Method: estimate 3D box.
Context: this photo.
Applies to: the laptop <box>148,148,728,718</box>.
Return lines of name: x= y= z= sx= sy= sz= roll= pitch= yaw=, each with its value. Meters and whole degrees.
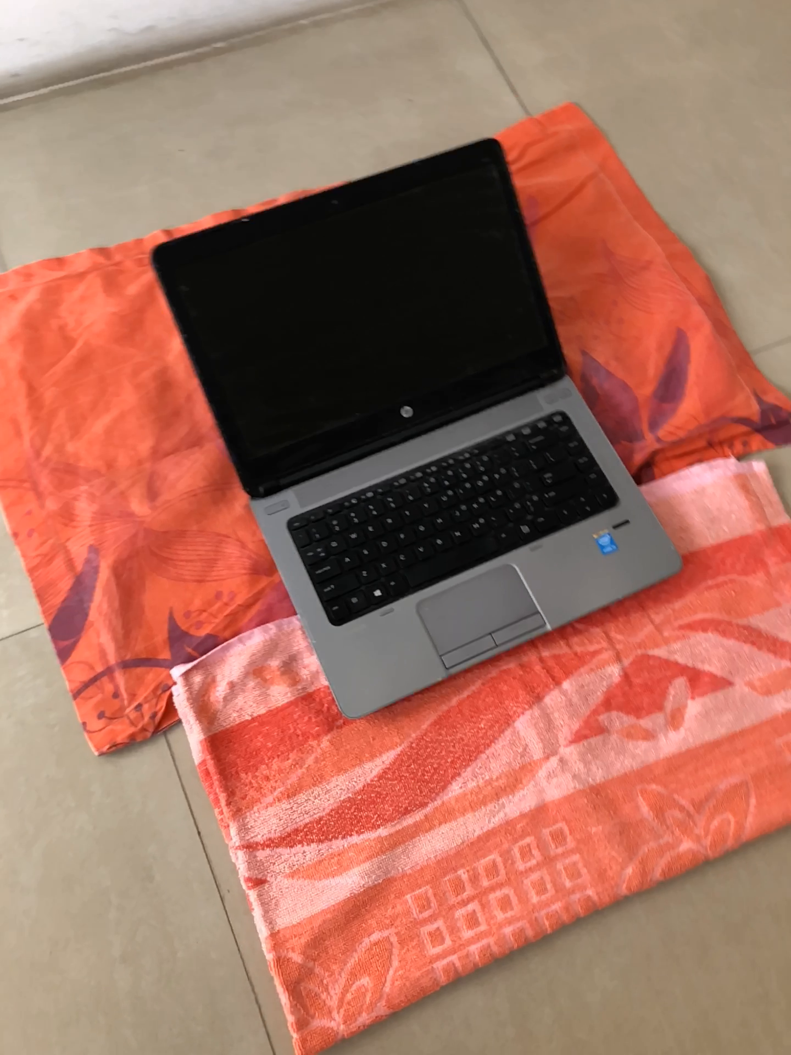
laptop: x=0.021 y=-0.098 z=0.760 sx=0.328 sy=0.111 sz=0.410 roll=-22 pitch=71 yaw=-12
